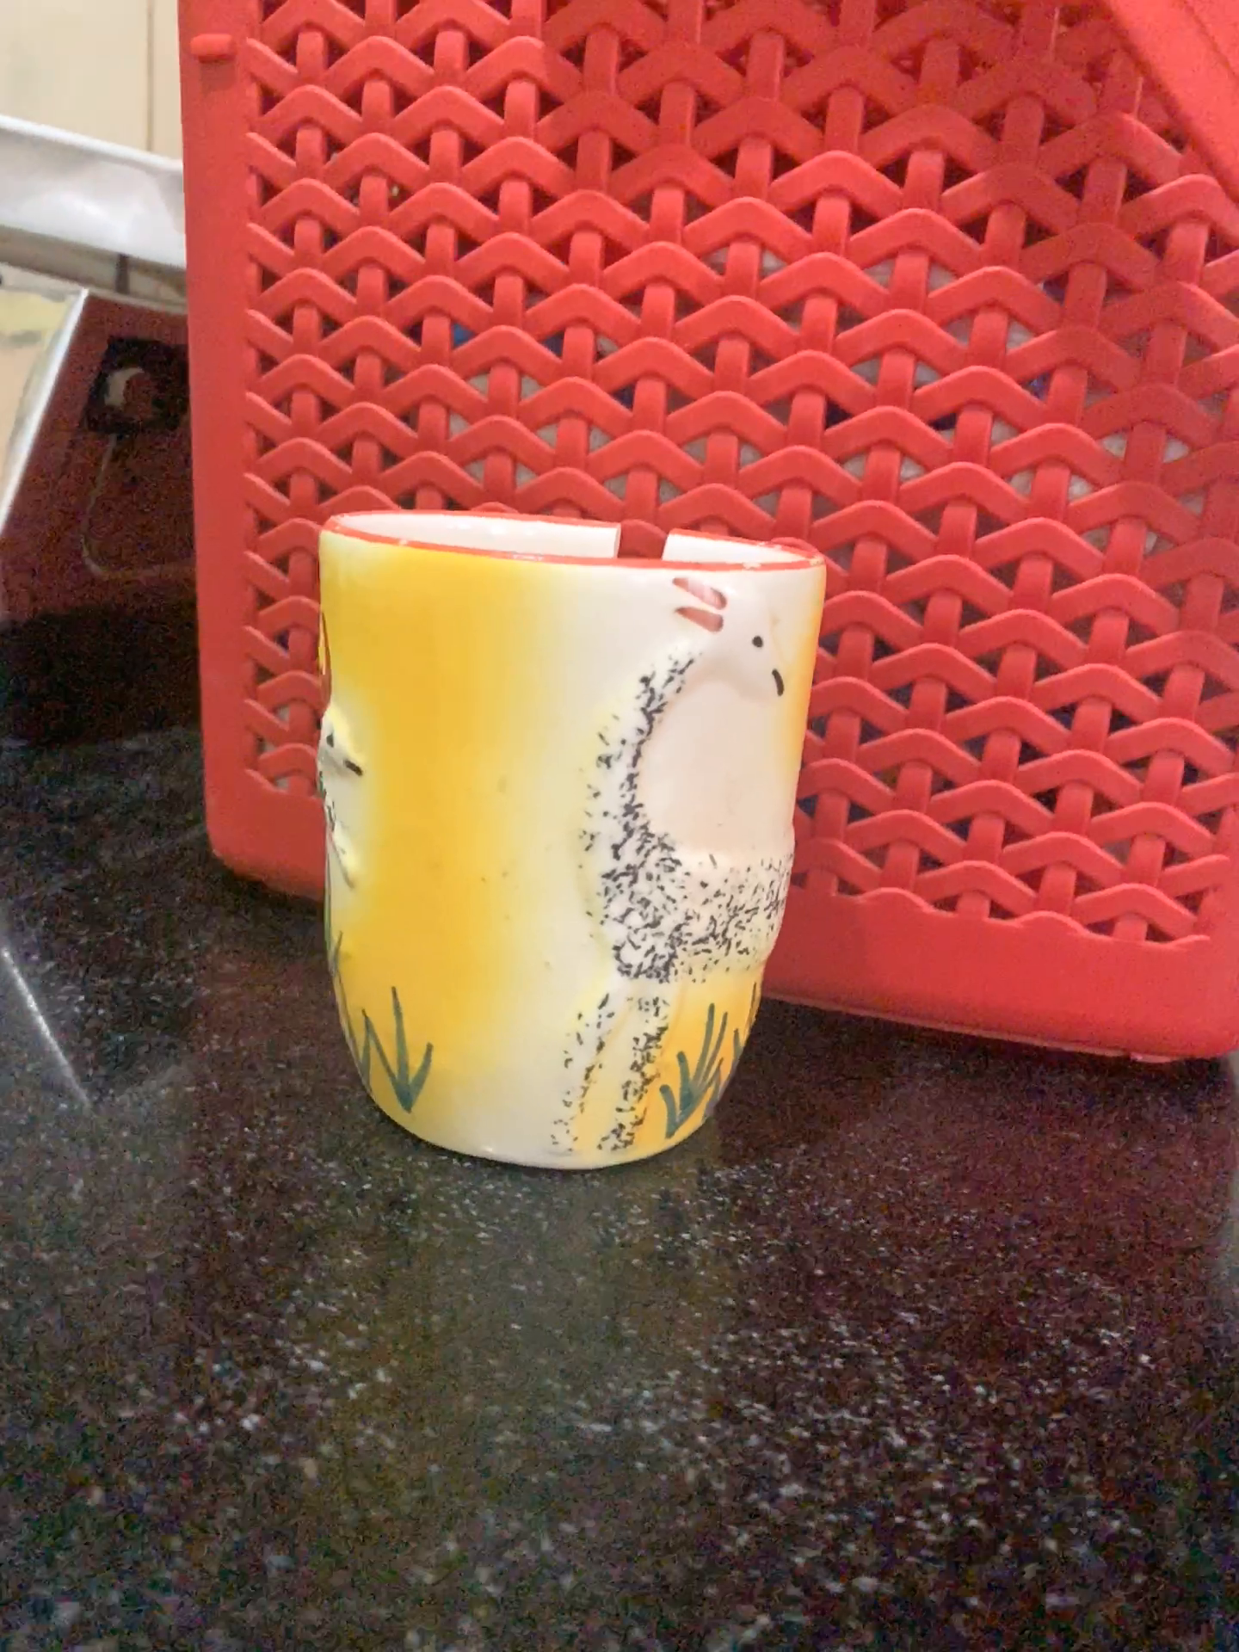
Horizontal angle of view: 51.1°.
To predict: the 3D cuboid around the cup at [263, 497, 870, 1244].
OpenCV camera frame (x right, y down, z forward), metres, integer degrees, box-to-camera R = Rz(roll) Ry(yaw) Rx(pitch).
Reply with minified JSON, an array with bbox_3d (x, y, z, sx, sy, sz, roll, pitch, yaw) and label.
[{"bbox_3d":[-0.005,-0.001,0.226,0.080,0.099,0.080,6,15,-2],"label":"cup"}]
